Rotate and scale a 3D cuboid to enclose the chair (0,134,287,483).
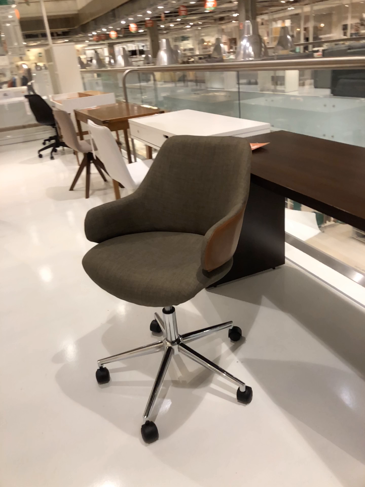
[{"bbox_3d":[-0.045,0.127,1.445,0.611,0.884,0.704,10,29,33],"label":"chair"}]
